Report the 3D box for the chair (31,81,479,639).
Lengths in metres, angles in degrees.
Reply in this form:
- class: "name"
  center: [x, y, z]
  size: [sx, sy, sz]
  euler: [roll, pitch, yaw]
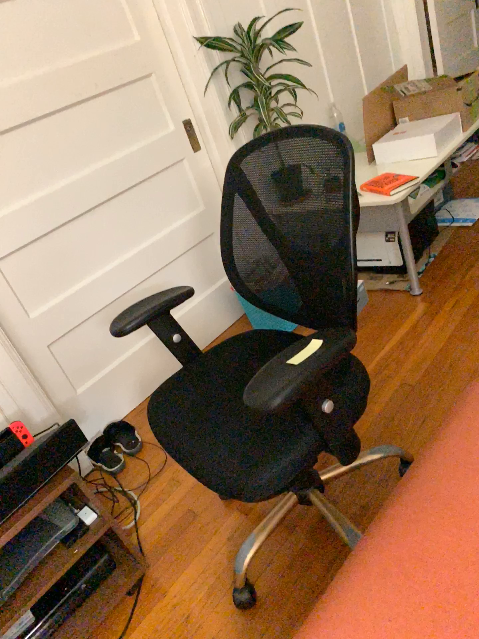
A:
- class: "chair"
  center: [0.100, 0.081, 1.184]
  size: [0.660, 0.974, 0.644]
  euler: [-30, 28, -25]
